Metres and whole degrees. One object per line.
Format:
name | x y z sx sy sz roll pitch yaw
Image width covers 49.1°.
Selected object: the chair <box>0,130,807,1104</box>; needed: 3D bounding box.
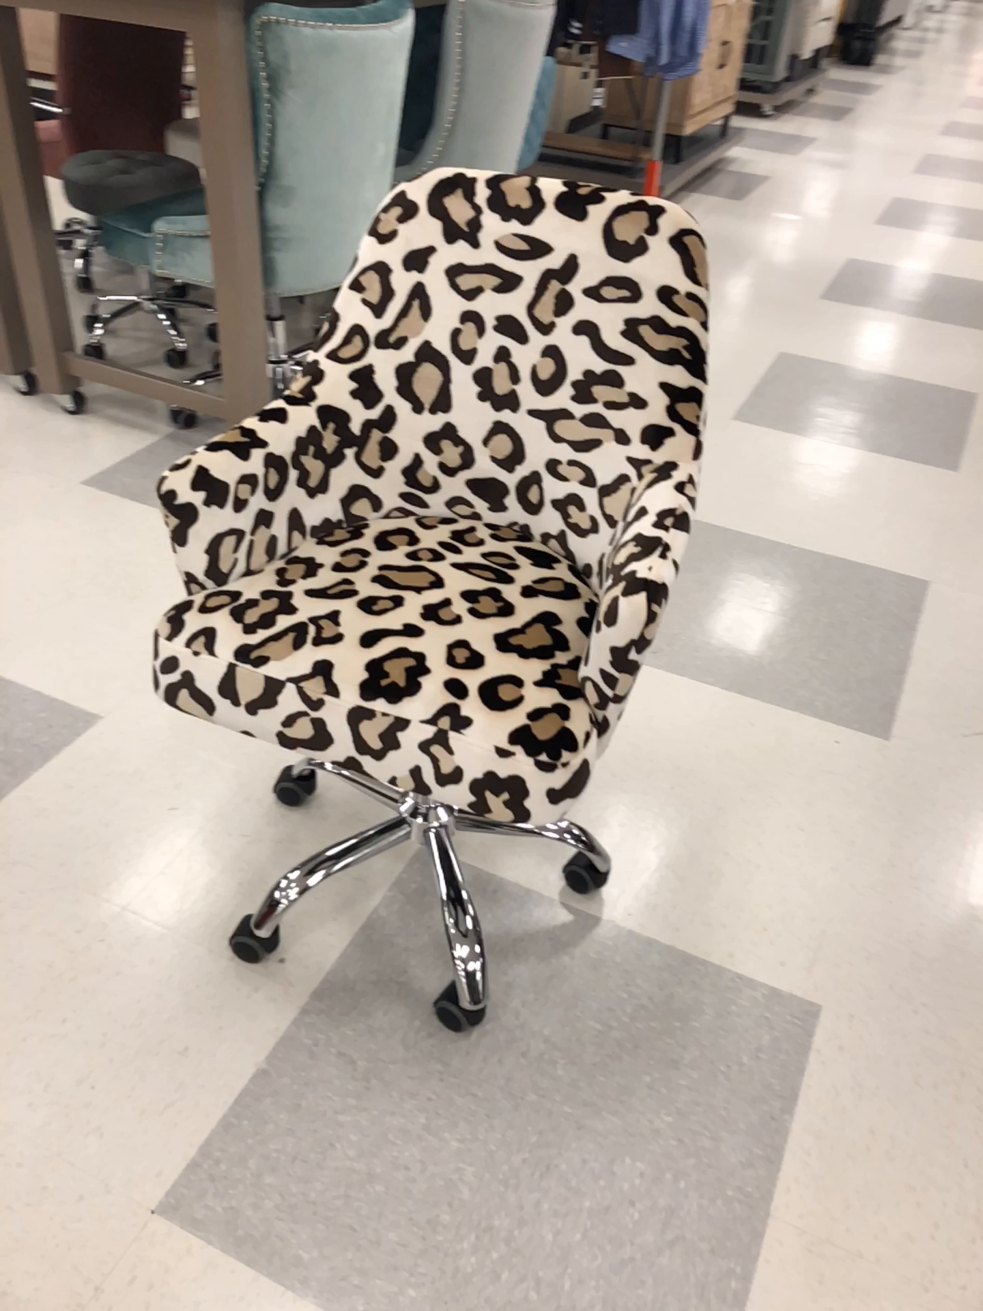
chair | -0.071 -0.070 1.313 0.600 0.887 0.583 17 38 17
